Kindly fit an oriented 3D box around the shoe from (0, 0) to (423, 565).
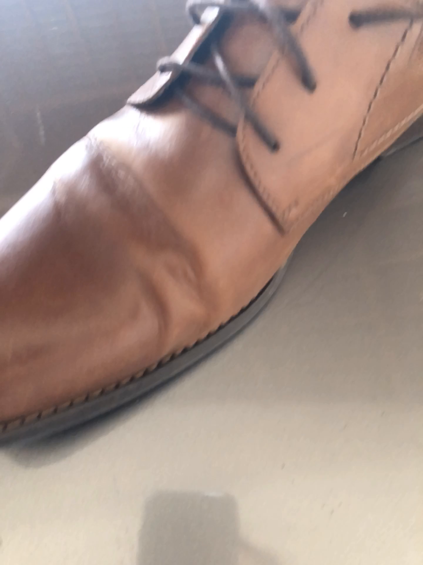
[{"bbox_3d":[0.011,-0.069,0.173,0.341,0.090,0.130,-33,58,-20],"label":"shoe"}]
